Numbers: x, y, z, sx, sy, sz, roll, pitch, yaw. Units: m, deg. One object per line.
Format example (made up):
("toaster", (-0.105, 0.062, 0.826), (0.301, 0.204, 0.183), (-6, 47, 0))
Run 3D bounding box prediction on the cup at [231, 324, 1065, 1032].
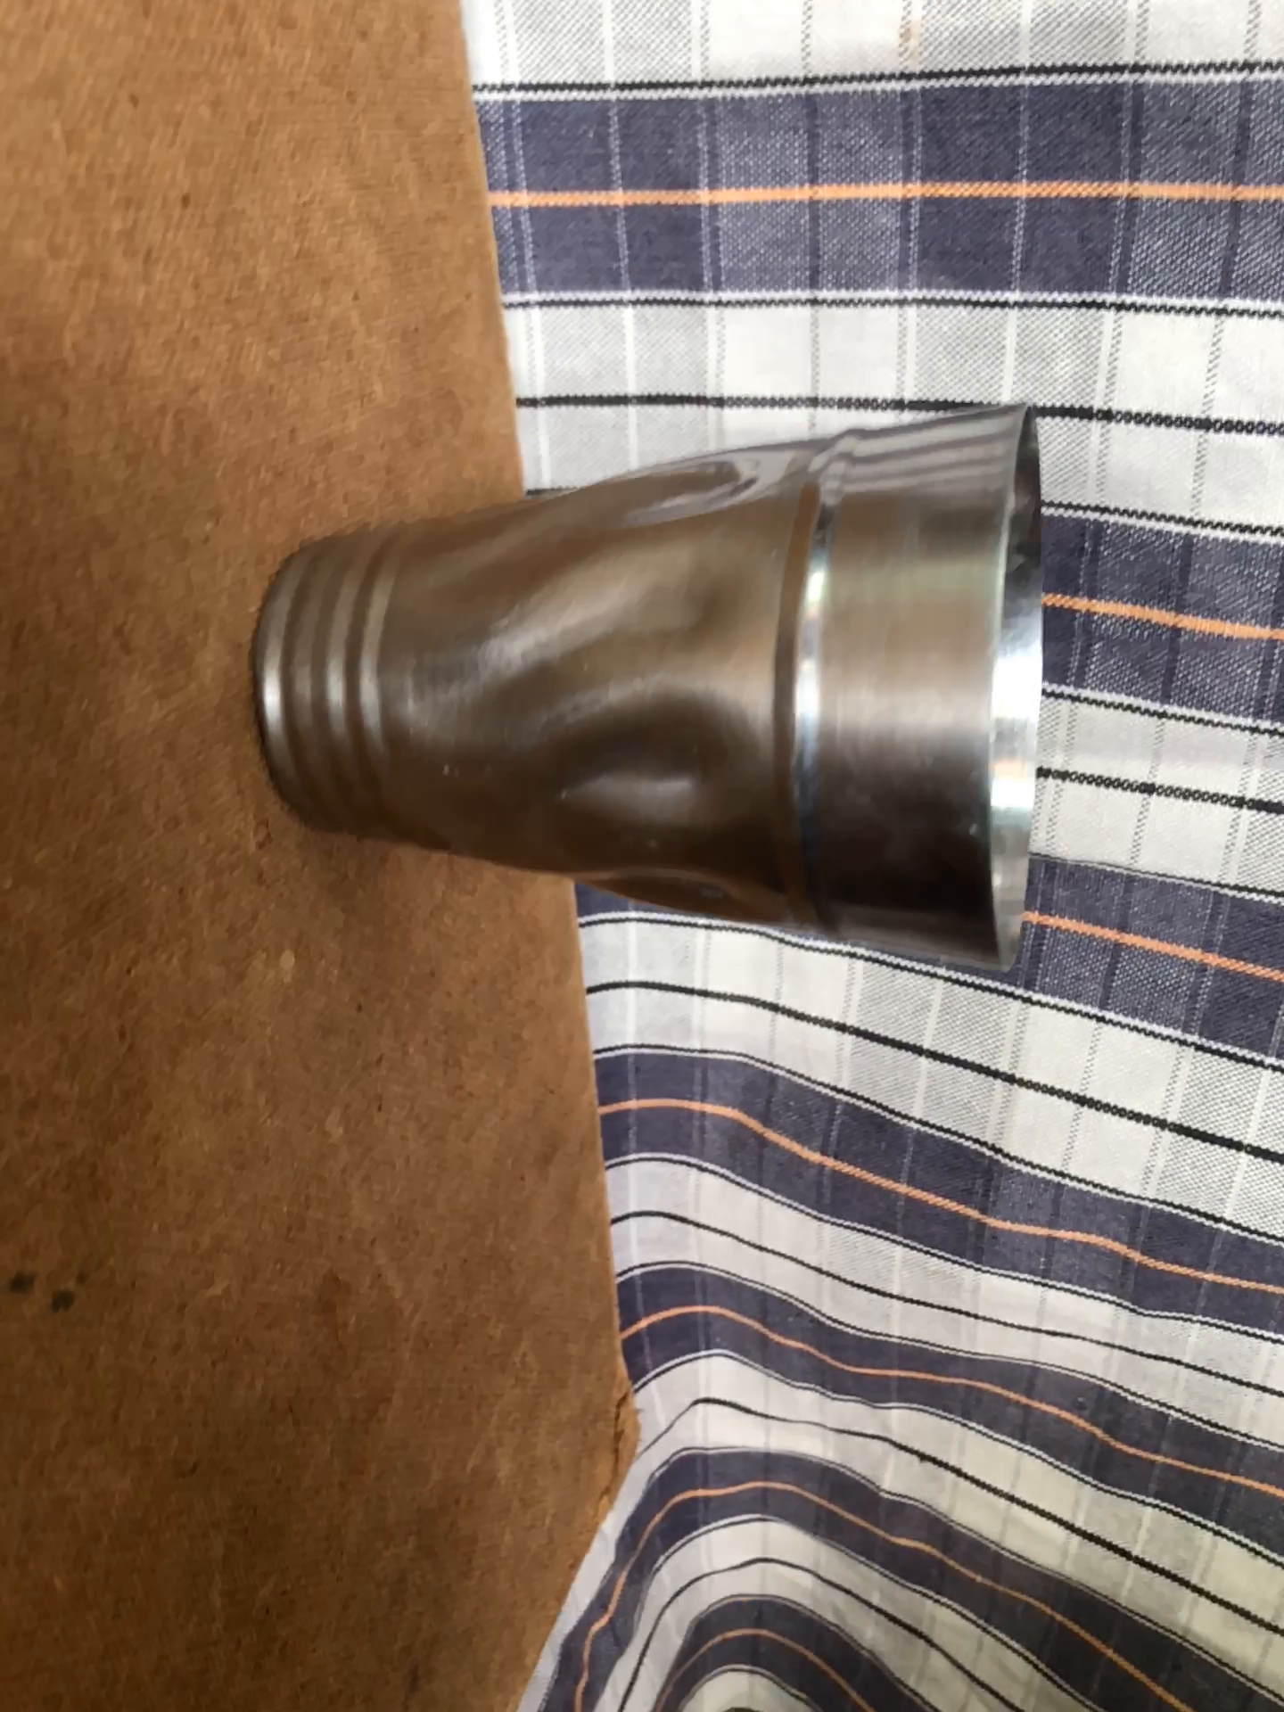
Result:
("cup", (0.008, -0.020, 0.213), (0.080, 0.099, 0.080), (2, 90, -72))
